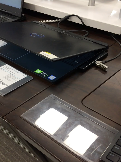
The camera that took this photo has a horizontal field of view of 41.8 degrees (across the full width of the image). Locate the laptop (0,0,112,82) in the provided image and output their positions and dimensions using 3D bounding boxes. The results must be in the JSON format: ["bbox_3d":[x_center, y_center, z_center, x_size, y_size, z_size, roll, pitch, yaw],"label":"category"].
[{"bbox_3d":[-0.083,-0.164,0.569,0.382,0.092,0.249,29,56,22],"label":"laptop"}]
